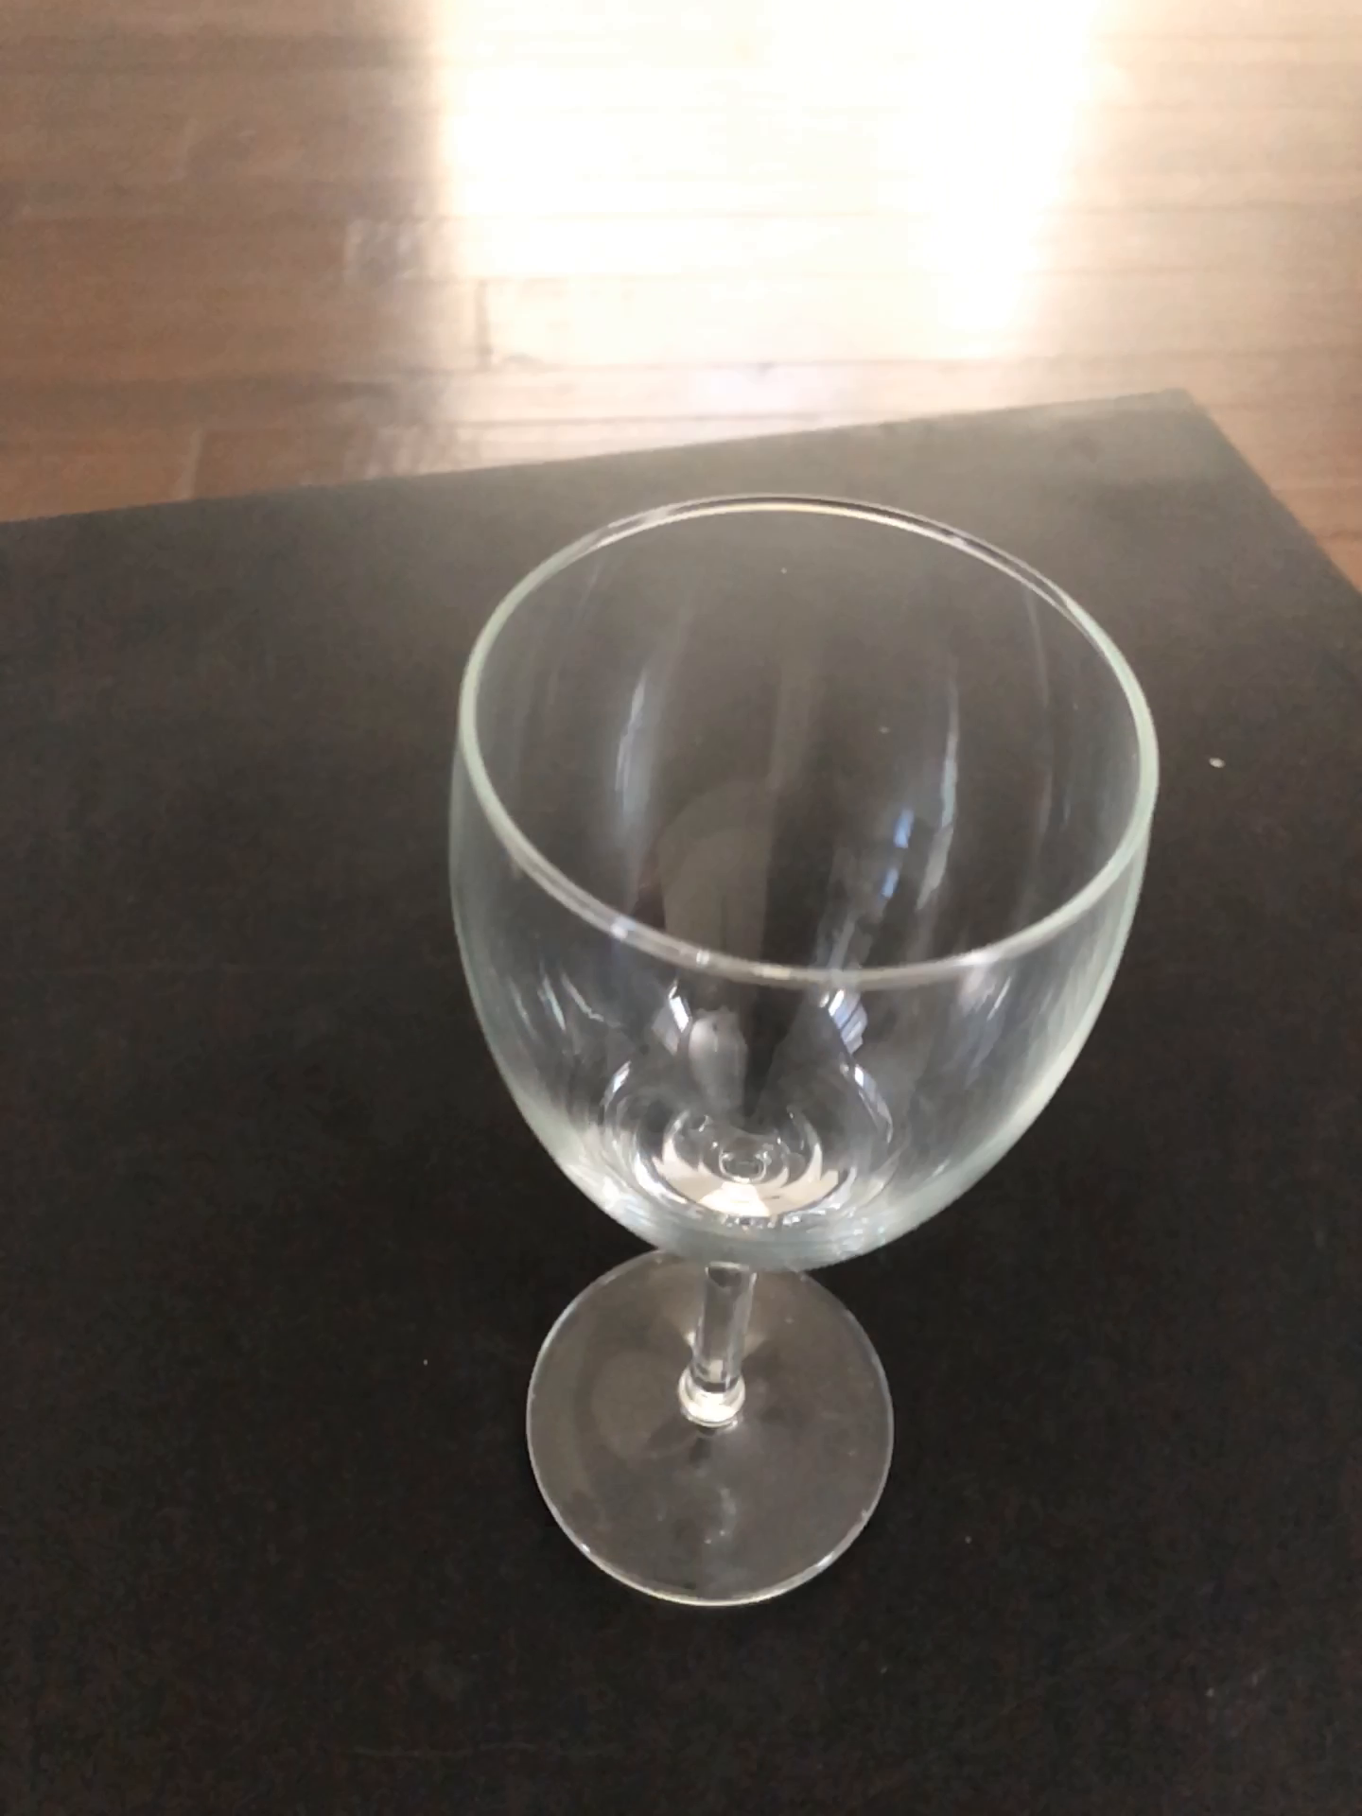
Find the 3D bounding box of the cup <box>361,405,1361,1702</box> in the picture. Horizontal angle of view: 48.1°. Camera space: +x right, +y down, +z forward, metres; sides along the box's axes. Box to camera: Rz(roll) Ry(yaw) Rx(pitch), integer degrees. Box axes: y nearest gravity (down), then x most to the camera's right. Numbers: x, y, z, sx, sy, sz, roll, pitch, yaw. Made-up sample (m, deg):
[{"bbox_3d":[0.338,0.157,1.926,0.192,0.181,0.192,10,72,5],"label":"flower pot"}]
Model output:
[{"bbox_3d":[0.015,0.035,0.225,0.080,0.179,0.080,1,49,-2],"label":"cup"}]
